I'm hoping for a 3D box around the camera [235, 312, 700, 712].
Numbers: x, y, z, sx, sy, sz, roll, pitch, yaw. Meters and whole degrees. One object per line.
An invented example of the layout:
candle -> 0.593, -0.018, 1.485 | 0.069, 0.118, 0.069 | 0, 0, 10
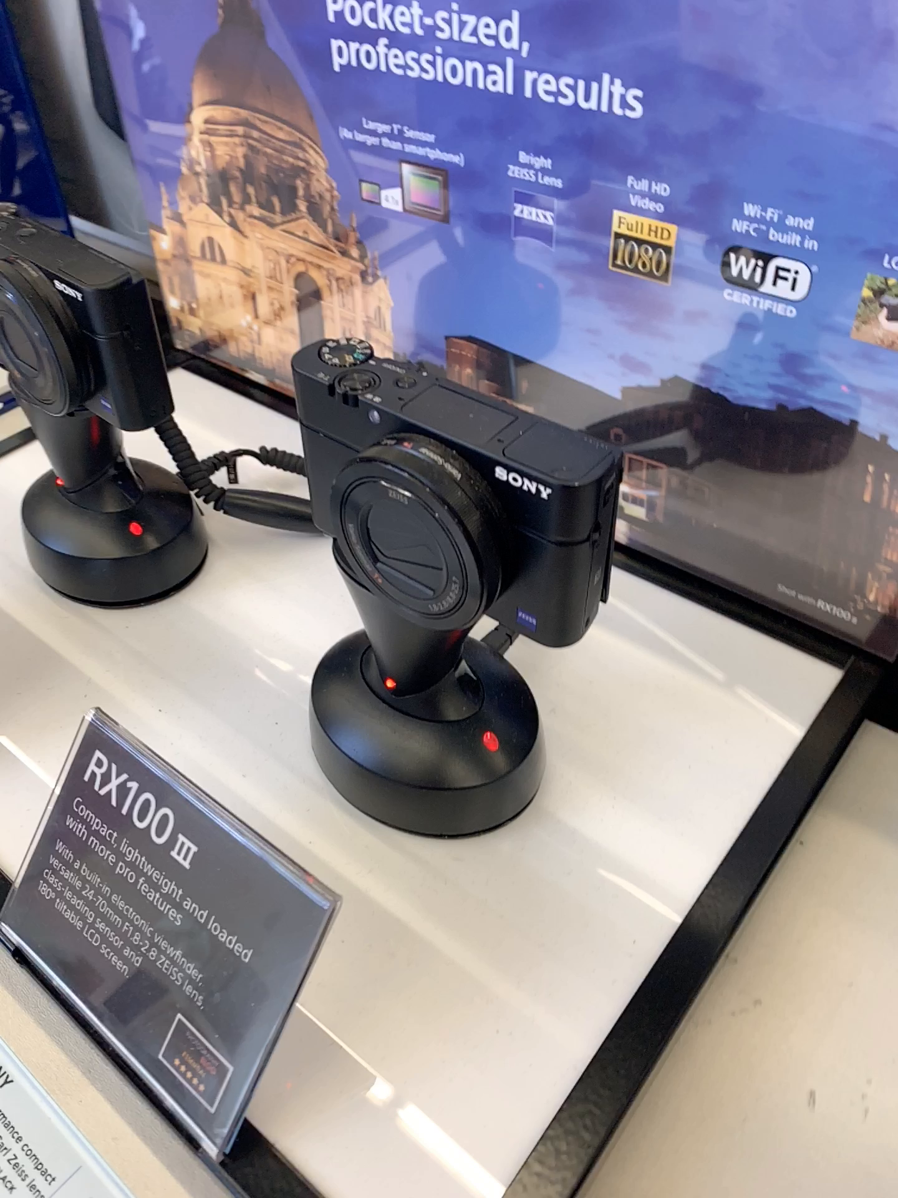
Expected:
camera -> 0.003, -0.028, 0.256 | 0.110, 0.059, 0.050 | 25, 49, 27
